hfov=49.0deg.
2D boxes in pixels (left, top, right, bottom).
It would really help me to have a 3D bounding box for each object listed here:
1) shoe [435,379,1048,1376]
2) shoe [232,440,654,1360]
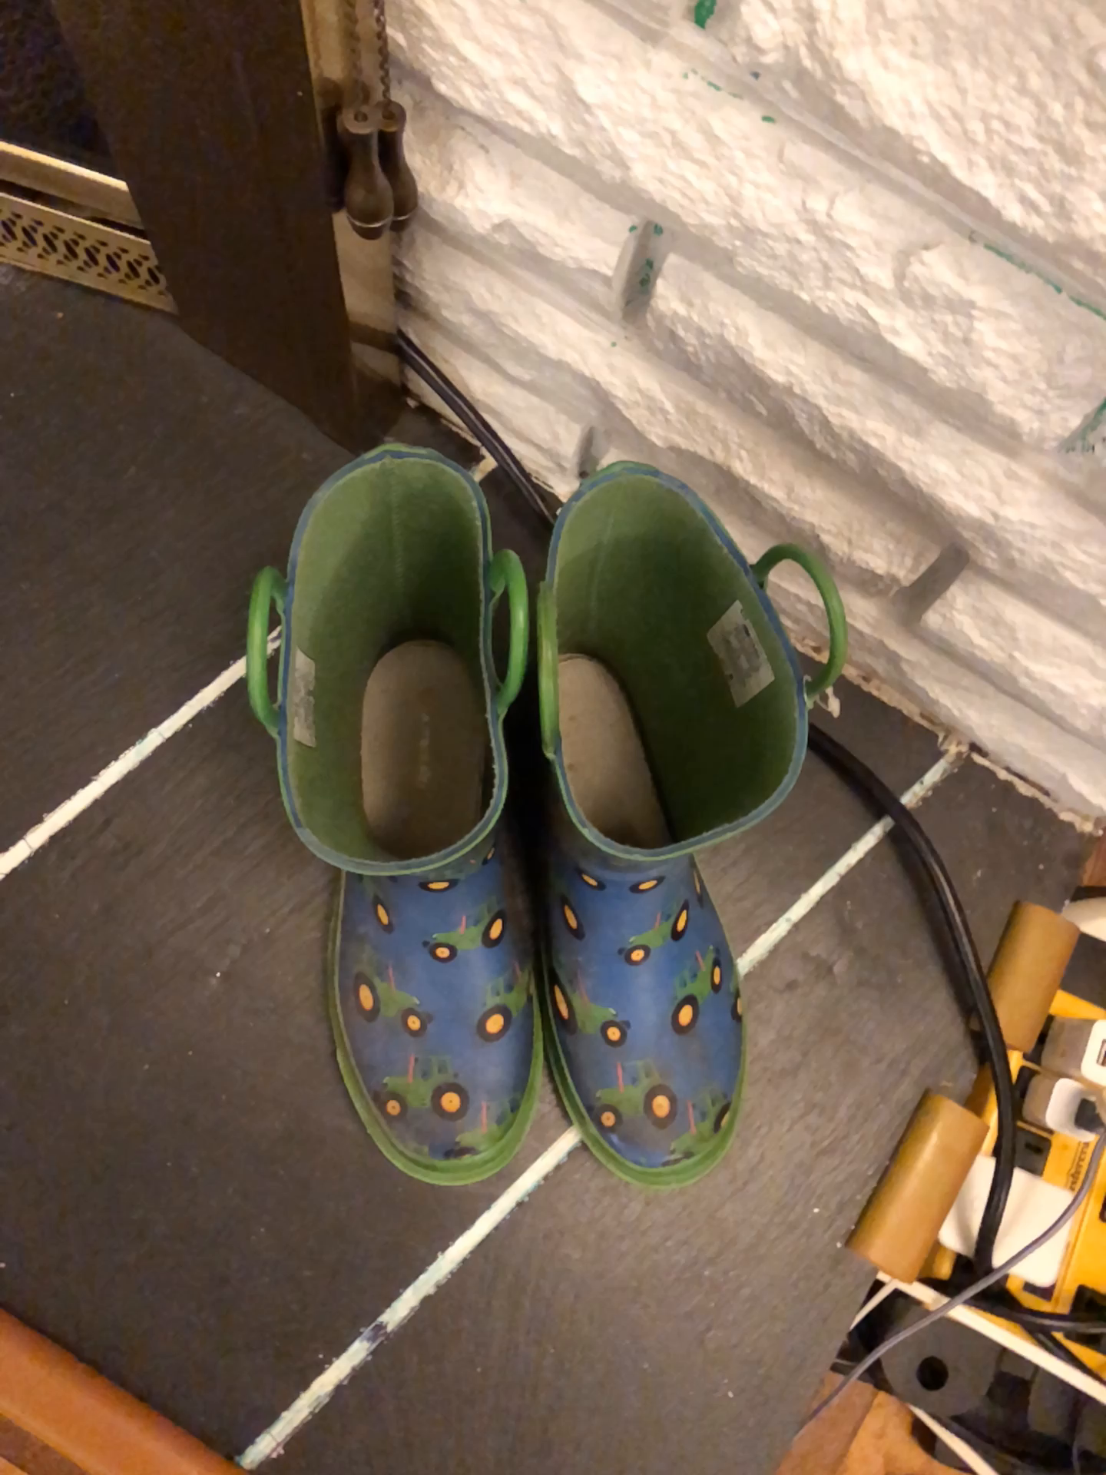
[{"bbox_3d":[0.035,0.047,0.426,0.100,0.230,0.240,-13,80,-7],"label":"shoe"},{"bbox_3d":[-0.041,0.054,0.428,0.100,0.240,0.230,-1,79,-5],"label":"shoe"}]
